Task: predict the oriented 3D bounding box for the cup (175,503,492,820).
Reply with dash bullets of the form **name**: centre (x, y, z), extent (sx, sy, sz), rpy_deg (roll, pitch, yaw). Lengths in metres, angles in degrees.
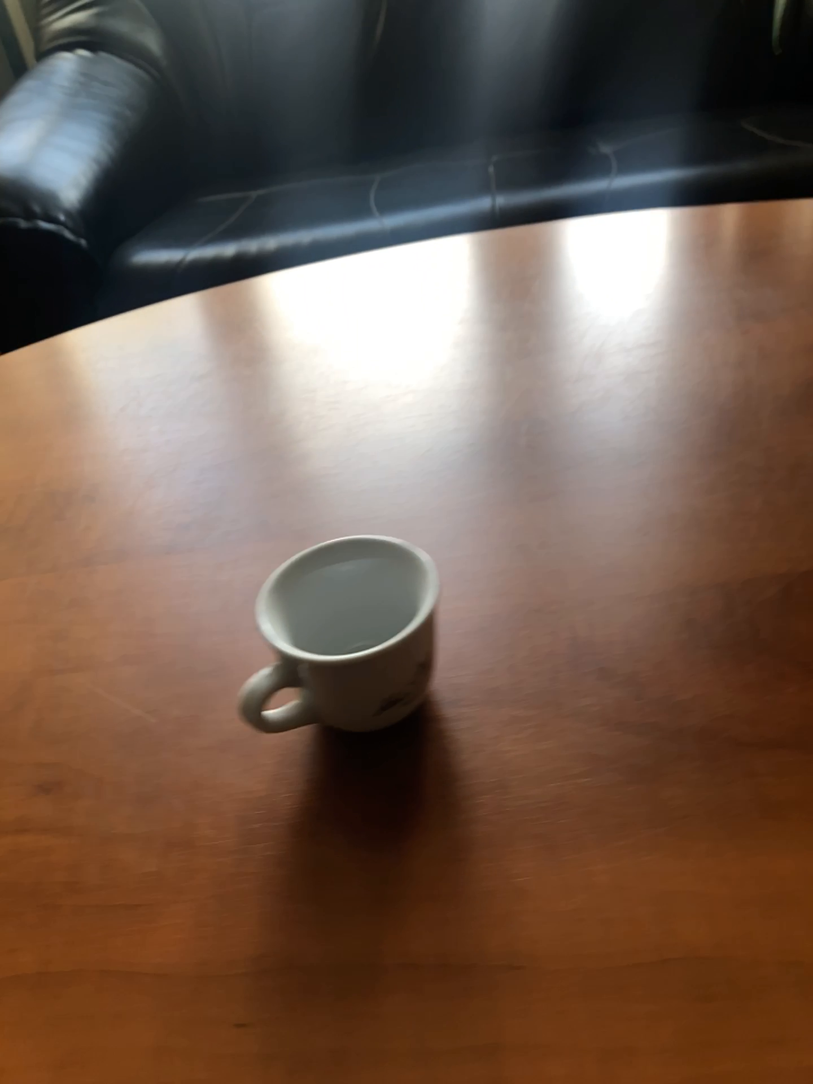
- **cup**: centre (-0.022, 0.037, 0.316), extent (0.065, 0.050, 0.083), rpy_deg (22, 48, 34)
